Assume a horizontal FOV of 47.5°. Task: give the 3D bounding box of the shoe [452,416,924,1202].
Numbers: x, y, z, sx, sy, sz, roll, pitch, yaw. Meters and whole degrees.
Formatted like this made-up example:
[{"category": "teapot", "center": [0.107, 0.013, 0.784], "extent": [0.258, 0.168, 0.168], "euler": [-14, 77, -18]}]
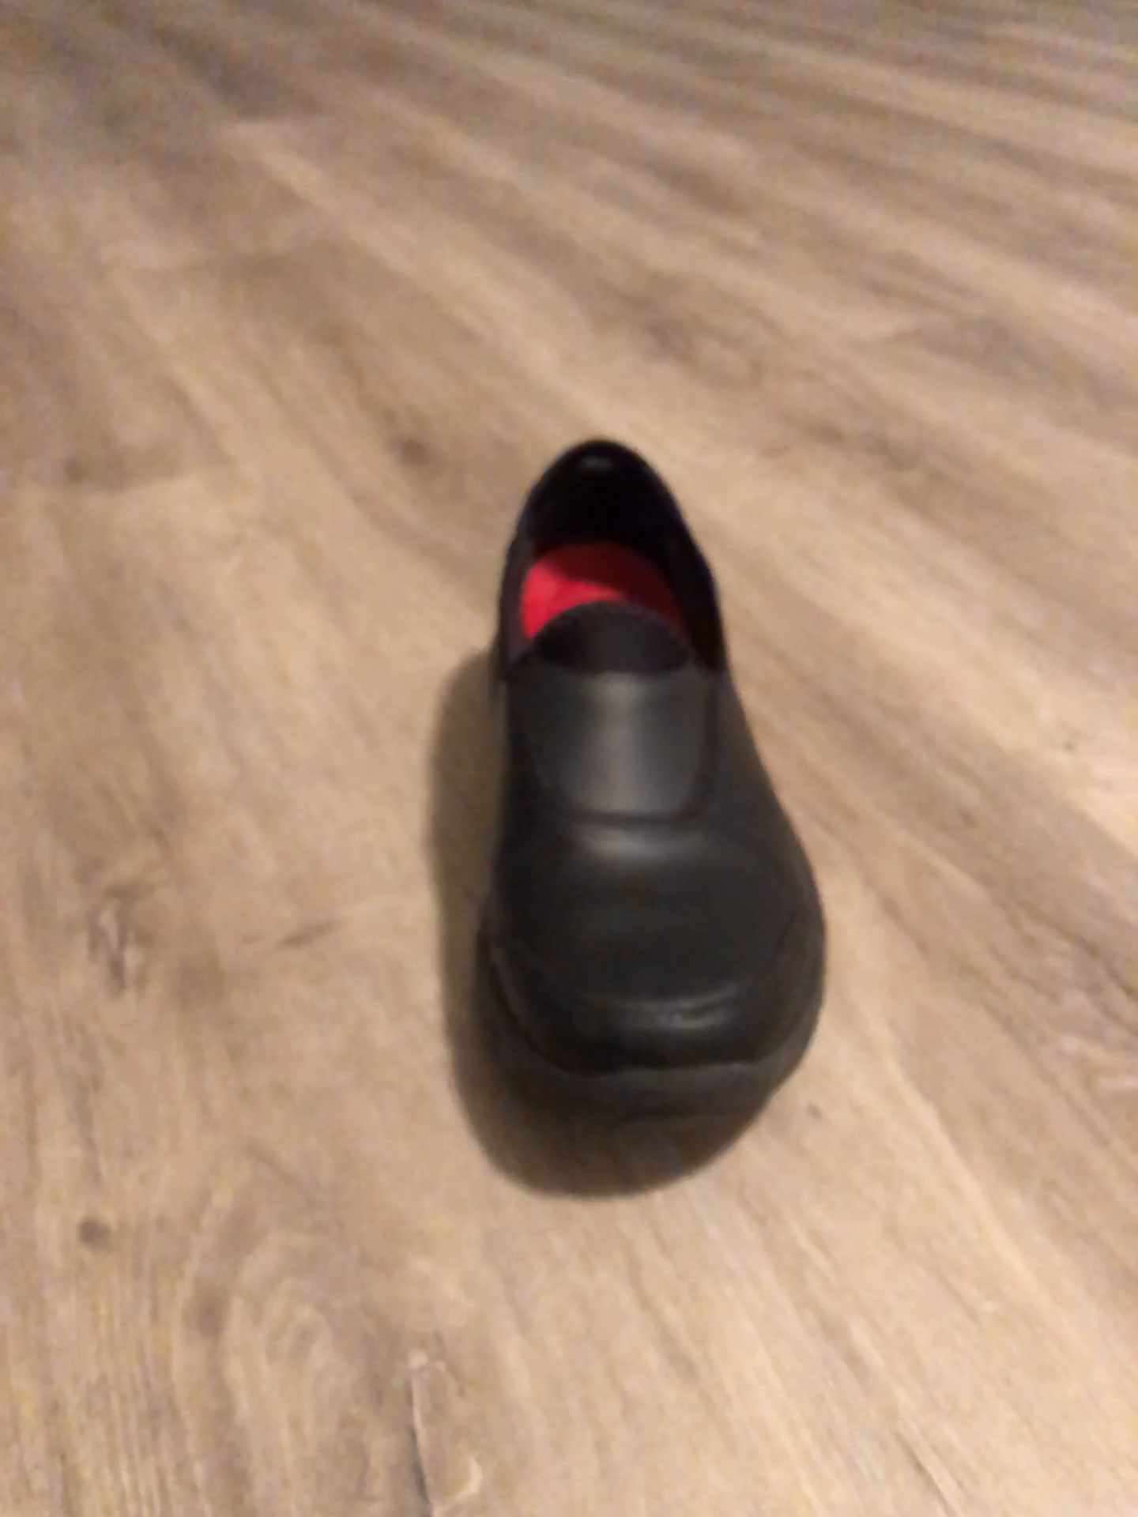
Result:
[{"category": "shoe", "center": [0.015, -0.007, 0.373], "extent": [0.090, 0.090, 0.241], "euler": [-3, 37, -3]}]
